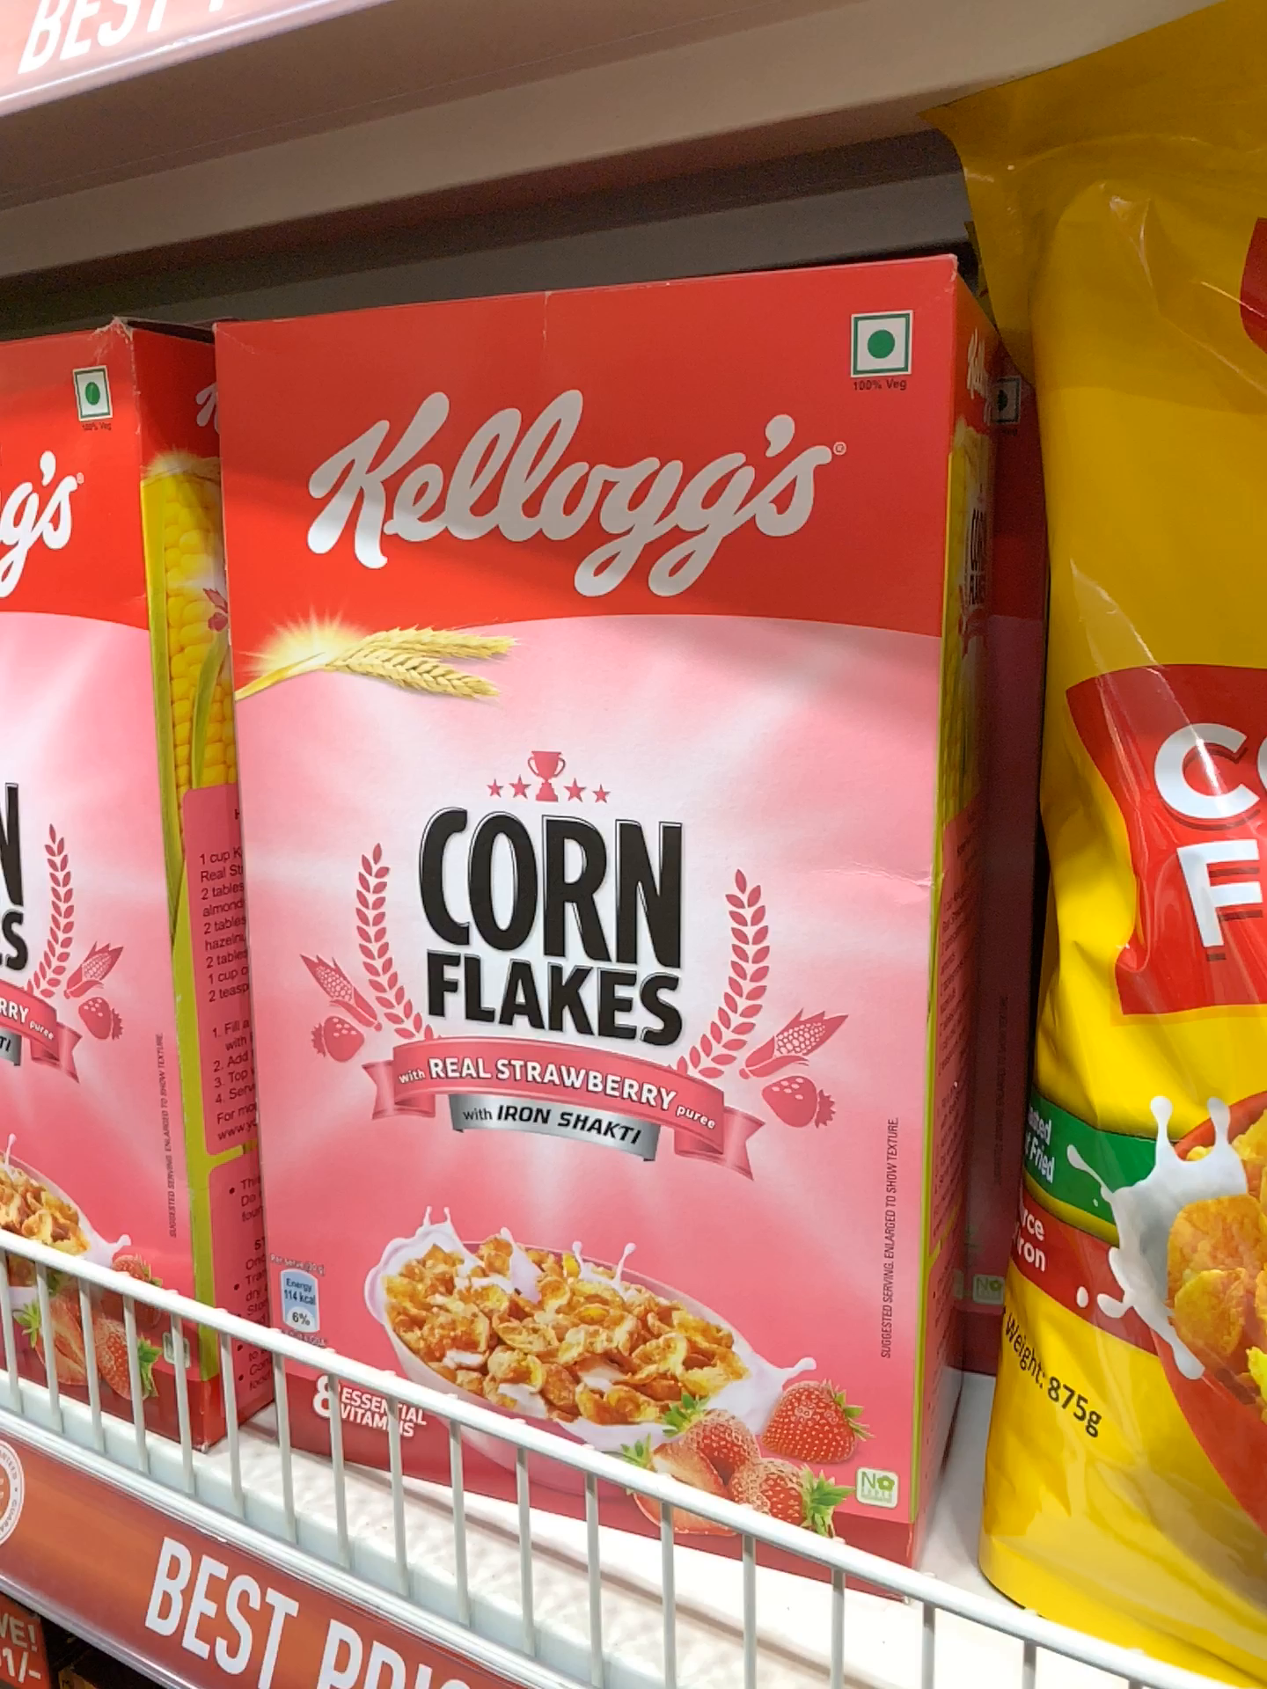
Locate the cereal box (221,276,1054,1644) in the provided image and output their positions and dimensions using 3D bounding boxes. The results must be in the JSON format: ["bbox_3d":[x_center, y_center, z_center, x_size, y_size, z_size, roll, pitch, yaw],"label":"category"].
[{"bbox_3d":[0.006,0.021,0.322,0.170,0.269,0.090,3,10,20],"label":"cereal box"}]
